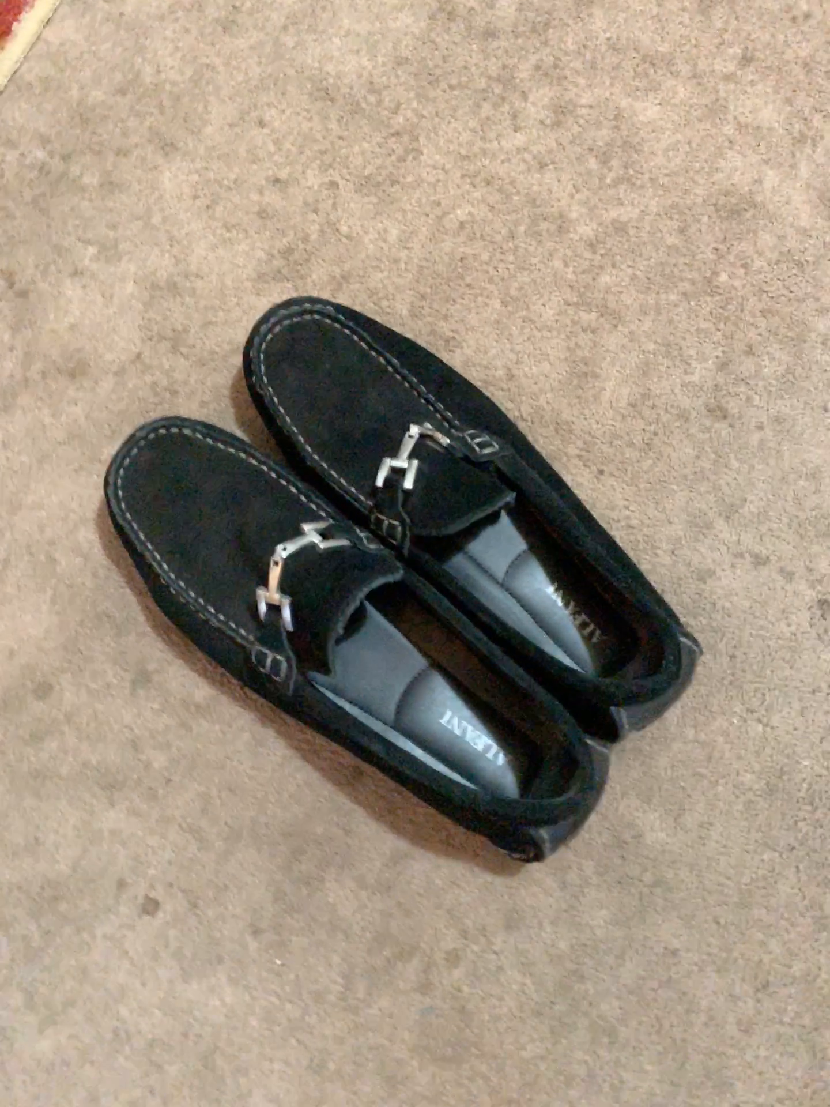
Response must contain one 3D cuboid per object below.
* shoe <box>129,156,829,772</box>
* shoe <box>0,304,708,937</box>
[{"bbox_3d":[0.022,-0.035,0.406,0.300,0.100,0.100,40,76,5],"label":"shoe"},{"bbox_3d":[-0.036,0.030,0.392,0.300,0.100,0.100,36,76,4],"label":"shoe"}]
